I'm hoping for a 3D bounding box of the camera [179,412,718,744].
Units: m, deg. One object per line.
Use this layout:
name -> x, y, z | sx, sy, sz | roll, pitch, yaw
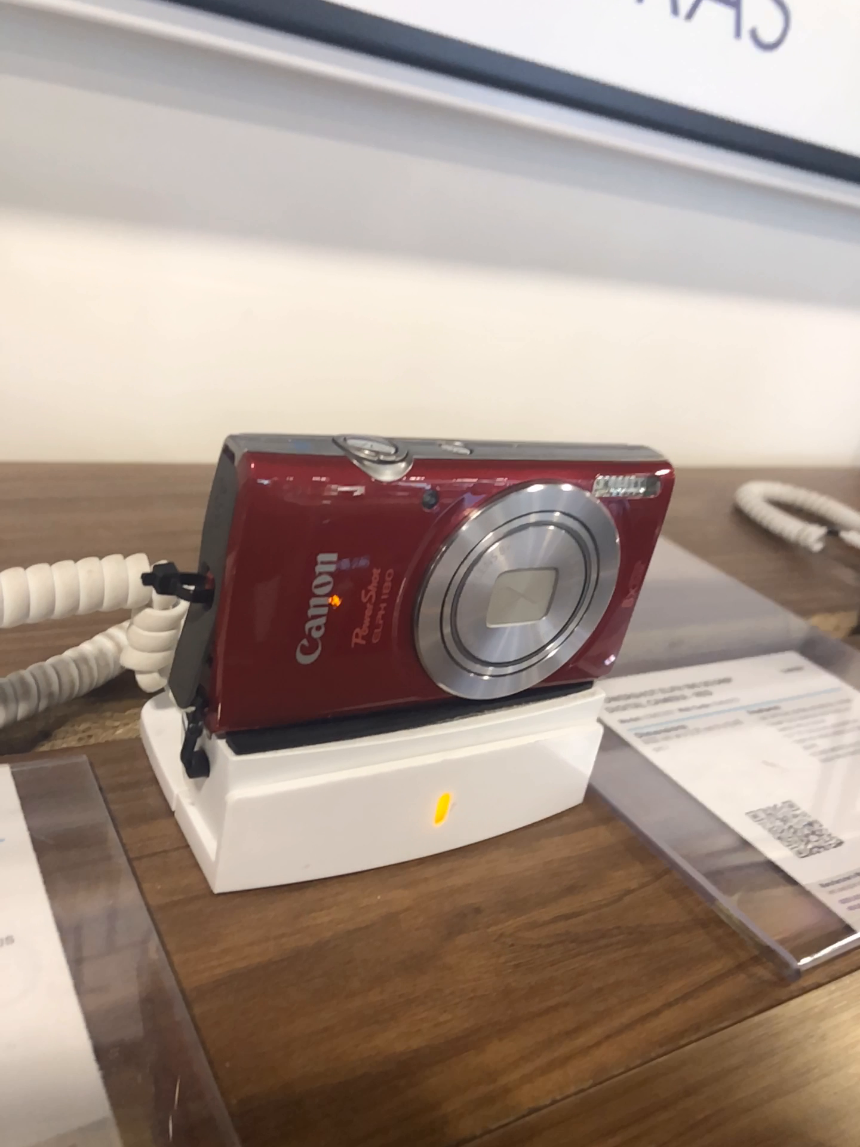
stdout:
camera -> 0.005, -0.001, 0.187 | 0.097, 0.051, 0.023 | -3, 32, -32
